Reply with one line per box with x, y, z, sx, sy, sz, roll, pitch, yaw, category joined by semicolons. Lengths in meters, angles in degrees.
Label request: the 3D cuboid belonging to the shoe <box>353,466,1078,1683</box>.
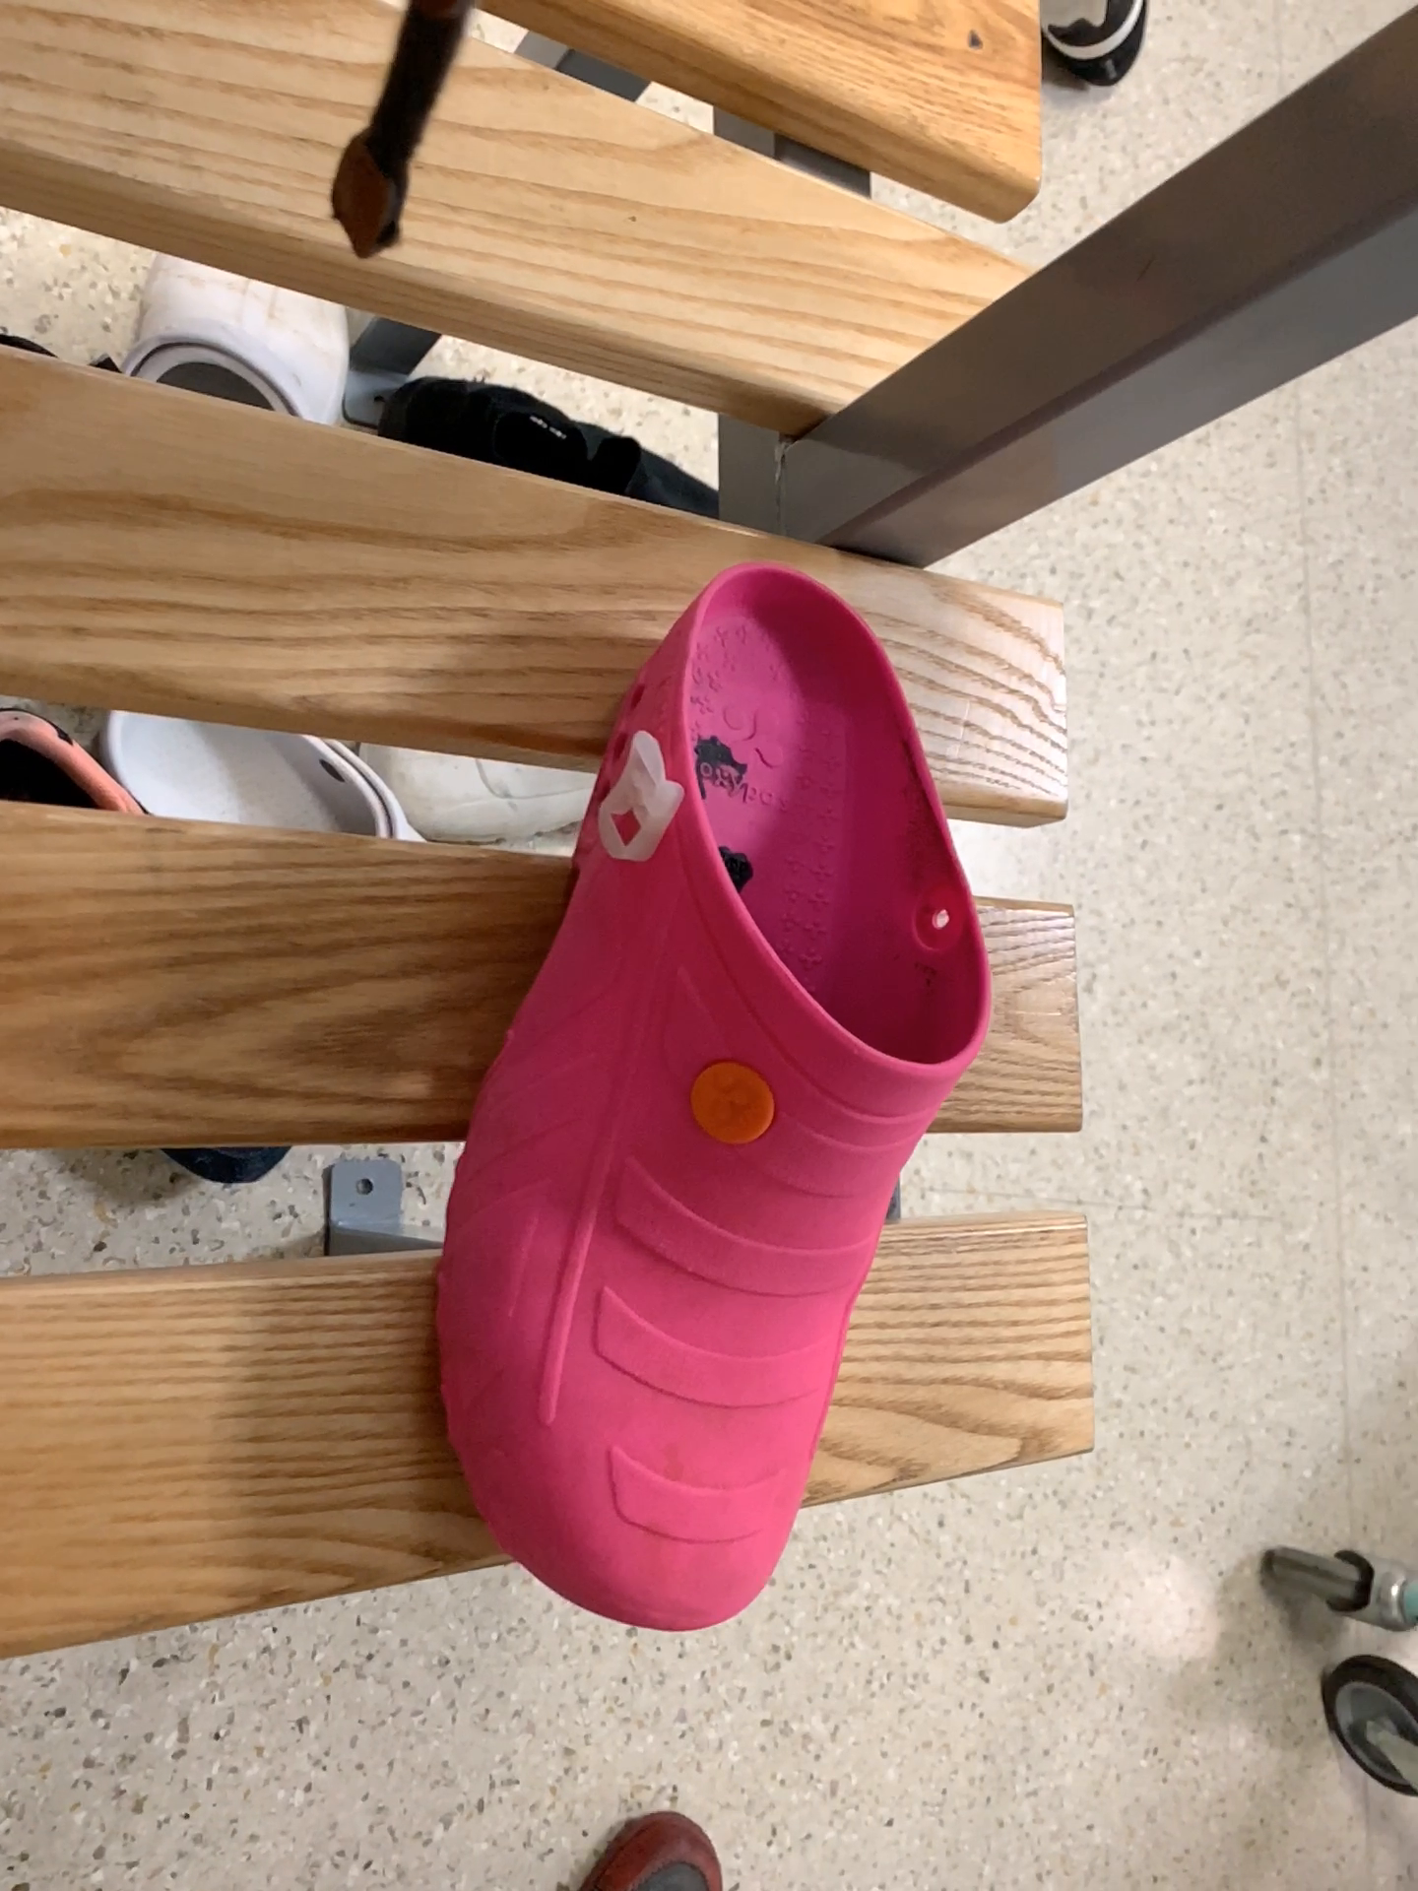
0.007;0.027;0.312;0.097;0.068;0.221;18;74;-28;shoe
